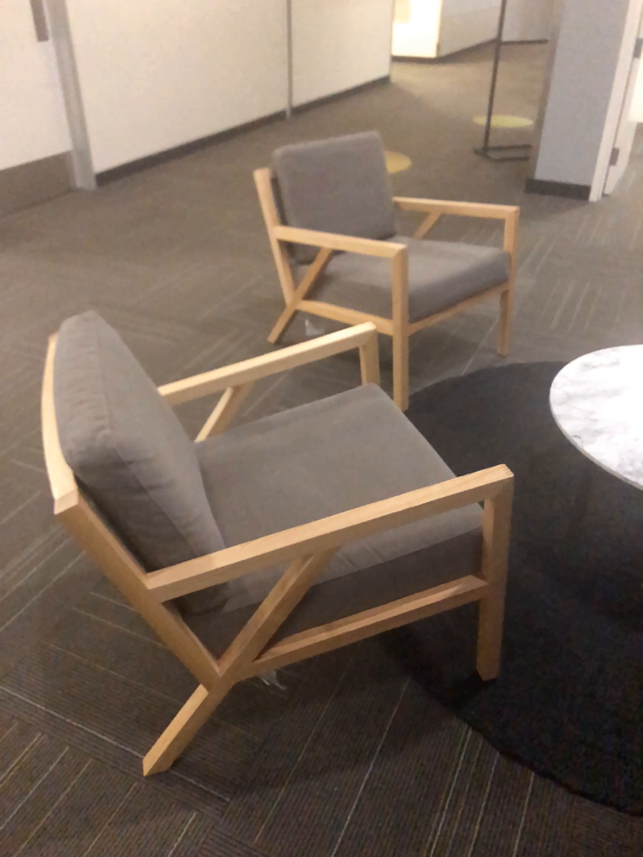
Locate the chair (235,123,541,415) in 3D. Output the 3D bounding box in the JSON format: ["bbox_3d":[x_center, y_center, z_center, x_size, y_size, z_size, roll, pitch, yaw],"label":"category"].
[{"bbox_3d":[0.243,-0.661,2.710,0.724,0.774,0.802,-29,40,-35],"label":"chair"}]

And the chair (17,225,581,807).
[{"bbox_3d":[-0.078,0.123,1.542,0.872,0.753,0.725,-15,36,-13],"label":"chair"}]
